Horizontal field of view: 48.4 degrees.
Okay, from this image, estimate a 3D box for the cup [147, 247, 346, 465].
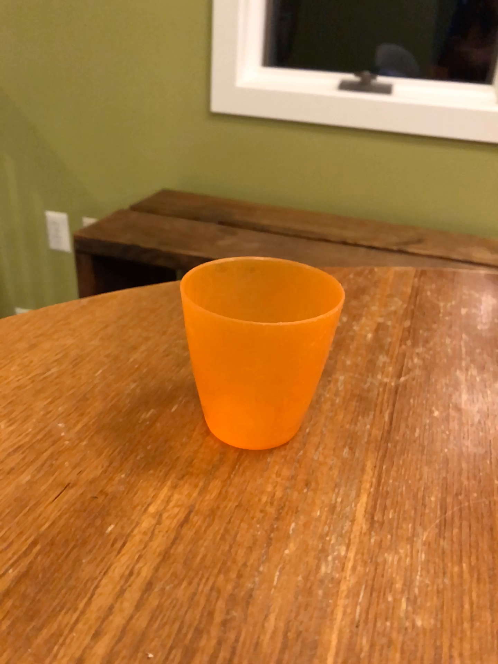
[{"bbox_3d":[0.002,0.007,0.271,0.079,0.066,0.080,3,28,-1],"label":"cup"}]
